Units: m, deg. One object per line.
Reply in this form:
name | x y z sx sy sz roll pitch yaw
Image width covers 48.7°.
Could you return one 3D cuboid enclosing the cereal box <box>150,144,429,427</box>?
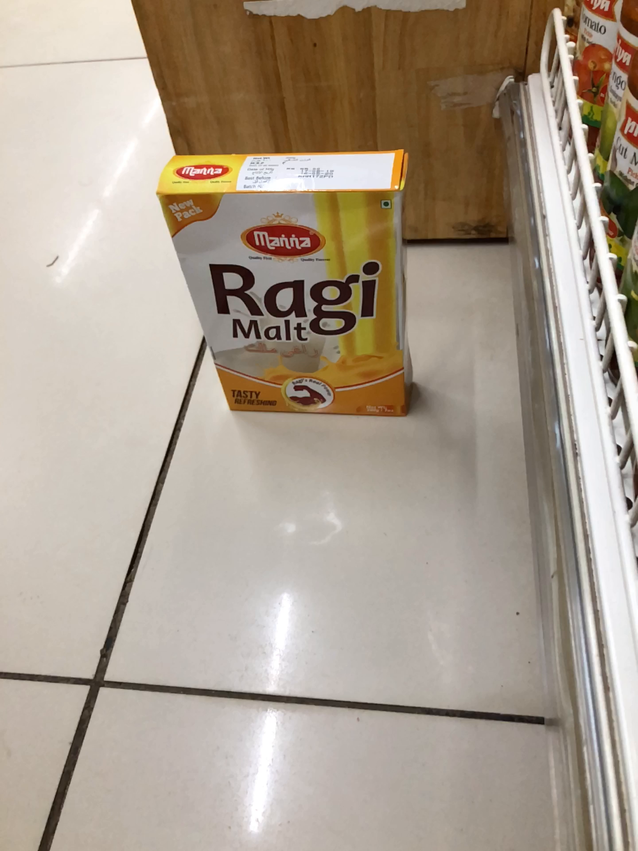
cereal box | -0.005 -0.076 0.432 0.140 0.179 0.040 3 50 12
